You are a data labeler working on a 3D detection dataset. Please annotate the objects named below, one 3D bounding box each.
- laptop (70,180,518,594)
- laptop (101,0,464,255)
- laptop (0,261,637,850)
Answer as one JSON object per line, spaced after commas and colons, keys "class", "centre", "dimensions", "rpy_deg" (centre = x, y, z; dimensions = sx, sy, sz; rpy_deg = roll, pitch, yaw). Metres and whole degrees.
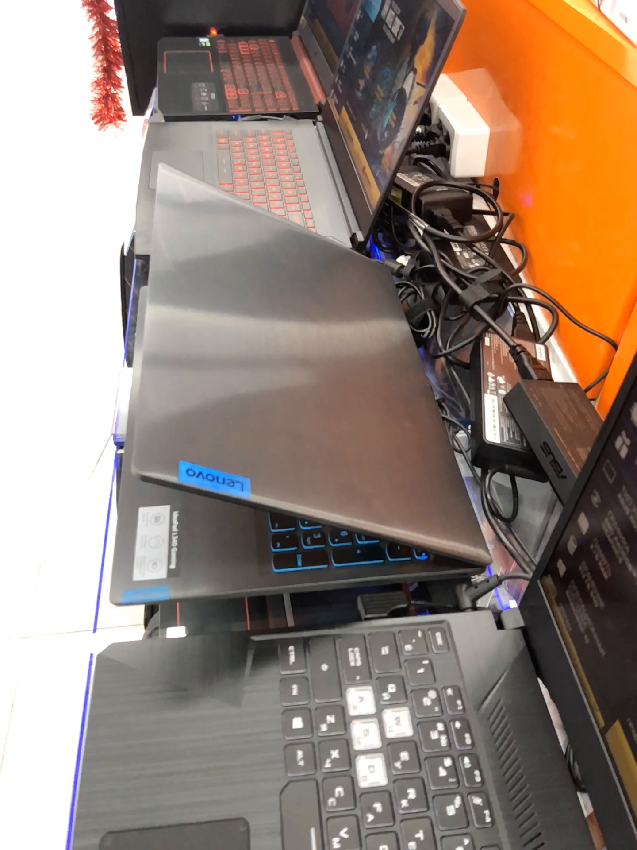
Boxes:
{"class": "laptop", "centre": [-0.027, -0.059, 0.542], "dimensions": [0.240, 0.118, 0.349], "rpy_deg": [-3, 42, -5]}
{"class": "laptop", "centre": [-0.049, -0.405, 0.819], "dimensions": [0.325, 0.228, 0.350], "rpy_deg": [-4, 45, -7]}
{"class": "laptop", "centre": [0.024, 0.163, 0.204], "dimensions": [0.277, 0.250, 0.385], "rpy_deg": [-2, 43, -4]}
